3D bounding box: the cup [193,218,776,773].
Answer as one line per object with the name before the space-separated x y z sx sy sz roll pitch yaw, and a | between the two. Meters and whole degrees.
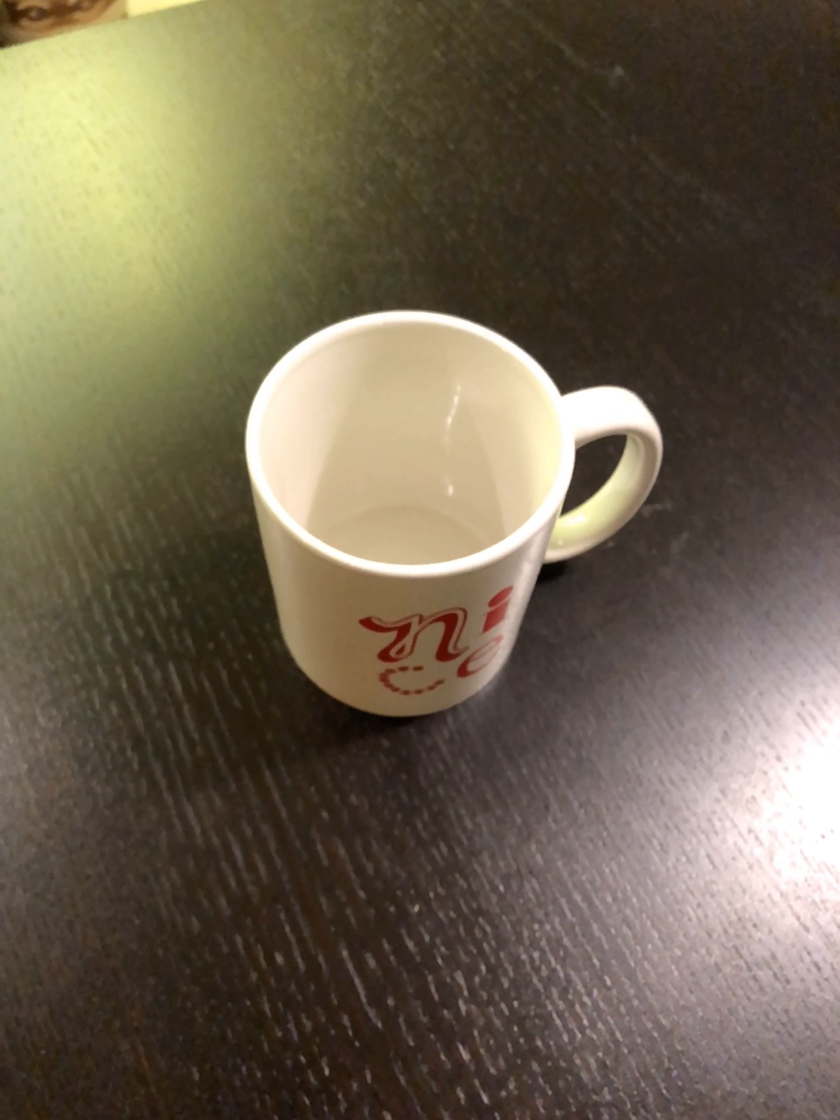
cup | 0.011 -0.017 0.287 0.120 0.100 0.100 -18 63 -13
